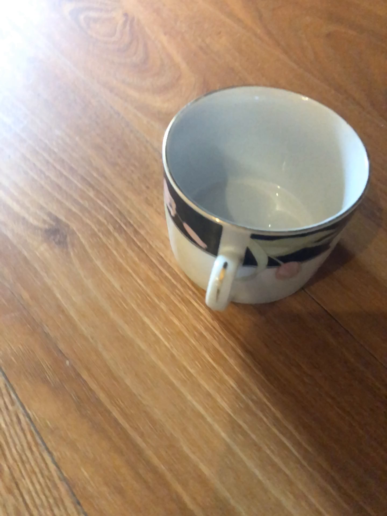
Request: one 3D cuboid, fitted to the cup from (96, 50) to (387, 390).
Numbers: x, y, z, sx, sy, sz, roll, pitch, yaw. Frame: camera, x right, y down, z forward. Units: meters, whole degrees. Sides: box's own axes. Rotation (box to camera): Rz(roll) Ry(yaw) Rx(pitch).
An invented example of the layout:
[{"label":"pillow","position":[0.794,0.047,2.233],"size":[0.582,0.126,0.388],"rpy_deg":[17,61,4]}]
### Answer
[{"label":"cup","position":[0.029,-0.020,0.181],"size":[0.090,0.060,0.110],"rpy_deg":[16,58,8]}]
